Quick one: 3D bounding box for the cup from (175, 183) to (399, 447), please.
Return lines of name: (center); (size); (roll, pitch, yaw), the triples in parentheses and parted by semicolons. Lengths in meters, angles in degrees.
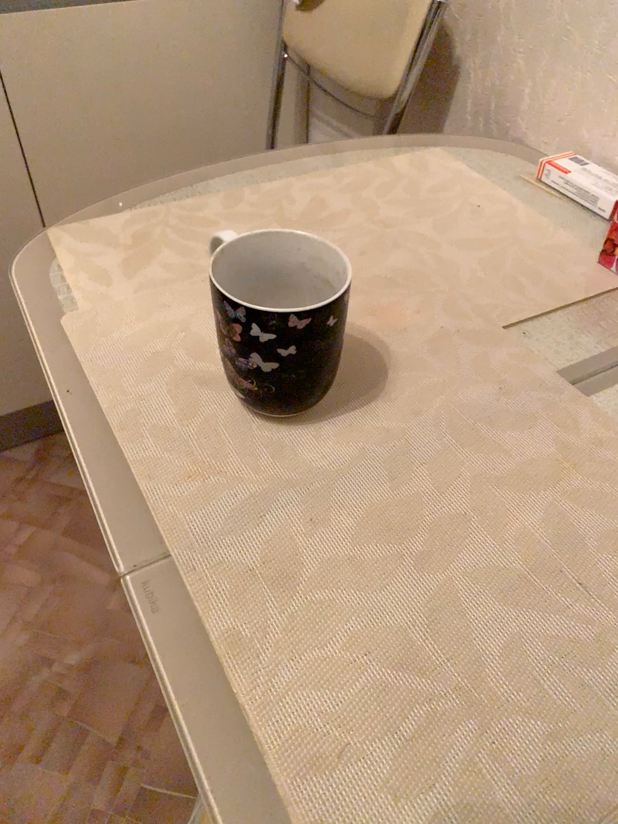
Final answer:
cup: (-0.018, -0.066, 0.406); (0.082, 0.097, 0.126); (-21, 49, -21)
